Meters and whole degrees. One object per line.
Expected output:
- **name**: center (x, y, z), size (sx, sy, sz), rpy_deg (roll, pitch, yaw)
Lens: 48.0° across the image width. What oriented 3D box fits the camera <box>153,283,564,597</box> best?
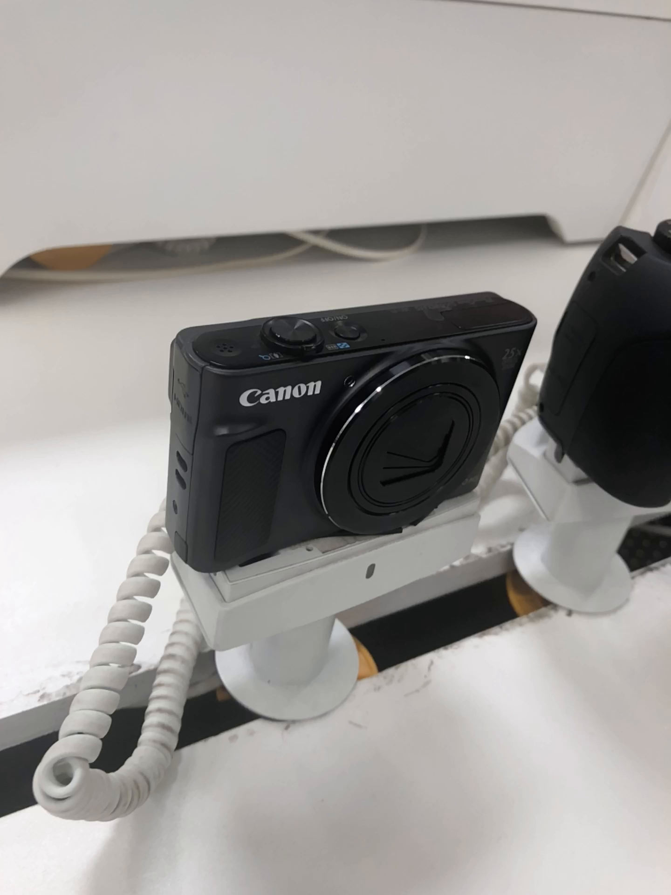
- **camera**: center (0.005, -0.005, 0.187), size (0.093, 0.057, 0.025), rpy_deg (-14, 46, -30)
